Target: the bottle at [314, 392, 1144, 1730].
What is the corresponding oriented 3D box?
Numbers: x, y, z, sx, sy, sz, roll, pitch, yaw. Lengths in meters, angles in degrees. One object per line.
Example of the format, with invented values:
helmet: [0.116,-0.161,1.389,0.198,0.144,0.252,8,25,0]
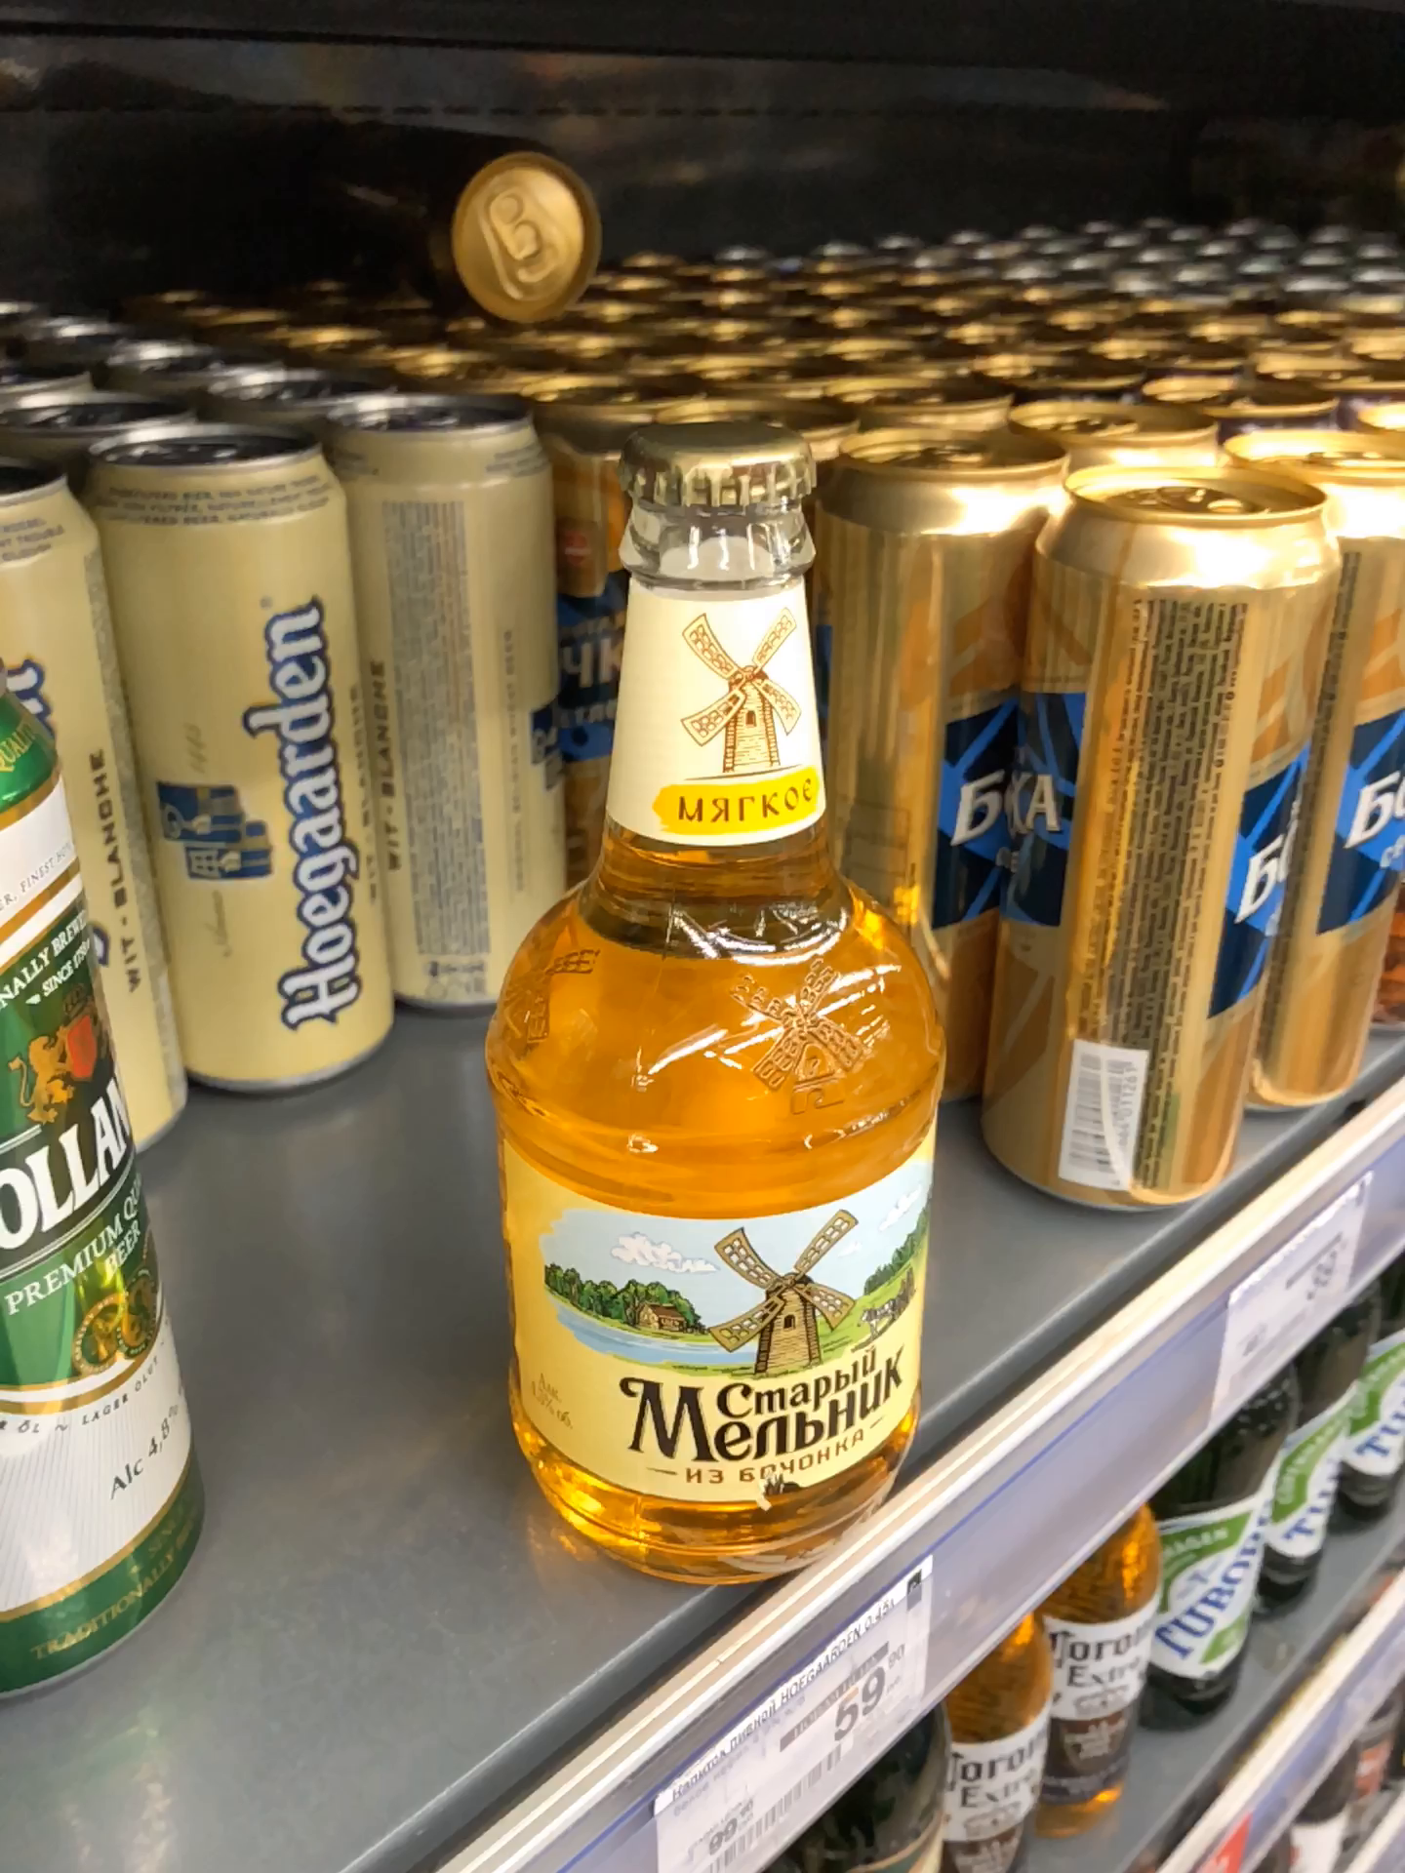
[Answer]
bottle: [-0.002,0.019,0.259,0.090,0.192,0.080,-10,29,-20]
